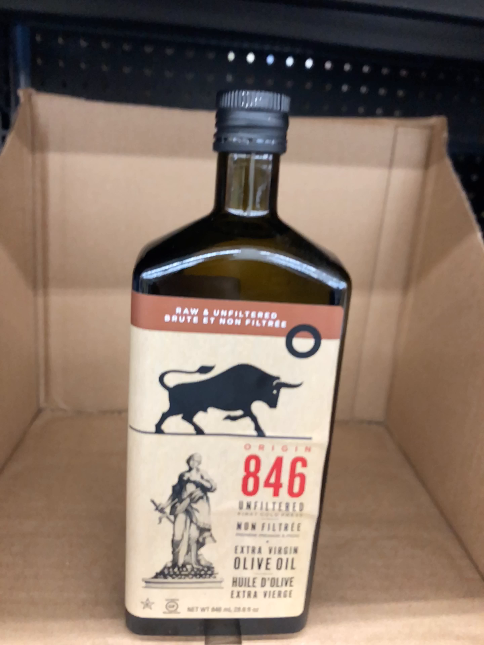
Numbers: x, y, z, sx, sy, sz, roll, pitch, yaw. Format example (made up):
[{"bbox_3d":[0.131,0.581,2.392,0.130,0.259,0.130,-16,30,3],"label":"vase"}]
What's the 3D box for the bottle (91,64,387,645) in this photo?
[{"bbox_3d":[-0.012,0.026,0.250,0.100,0.249,0.060,3,18,-6],"label":"bottle"}]
